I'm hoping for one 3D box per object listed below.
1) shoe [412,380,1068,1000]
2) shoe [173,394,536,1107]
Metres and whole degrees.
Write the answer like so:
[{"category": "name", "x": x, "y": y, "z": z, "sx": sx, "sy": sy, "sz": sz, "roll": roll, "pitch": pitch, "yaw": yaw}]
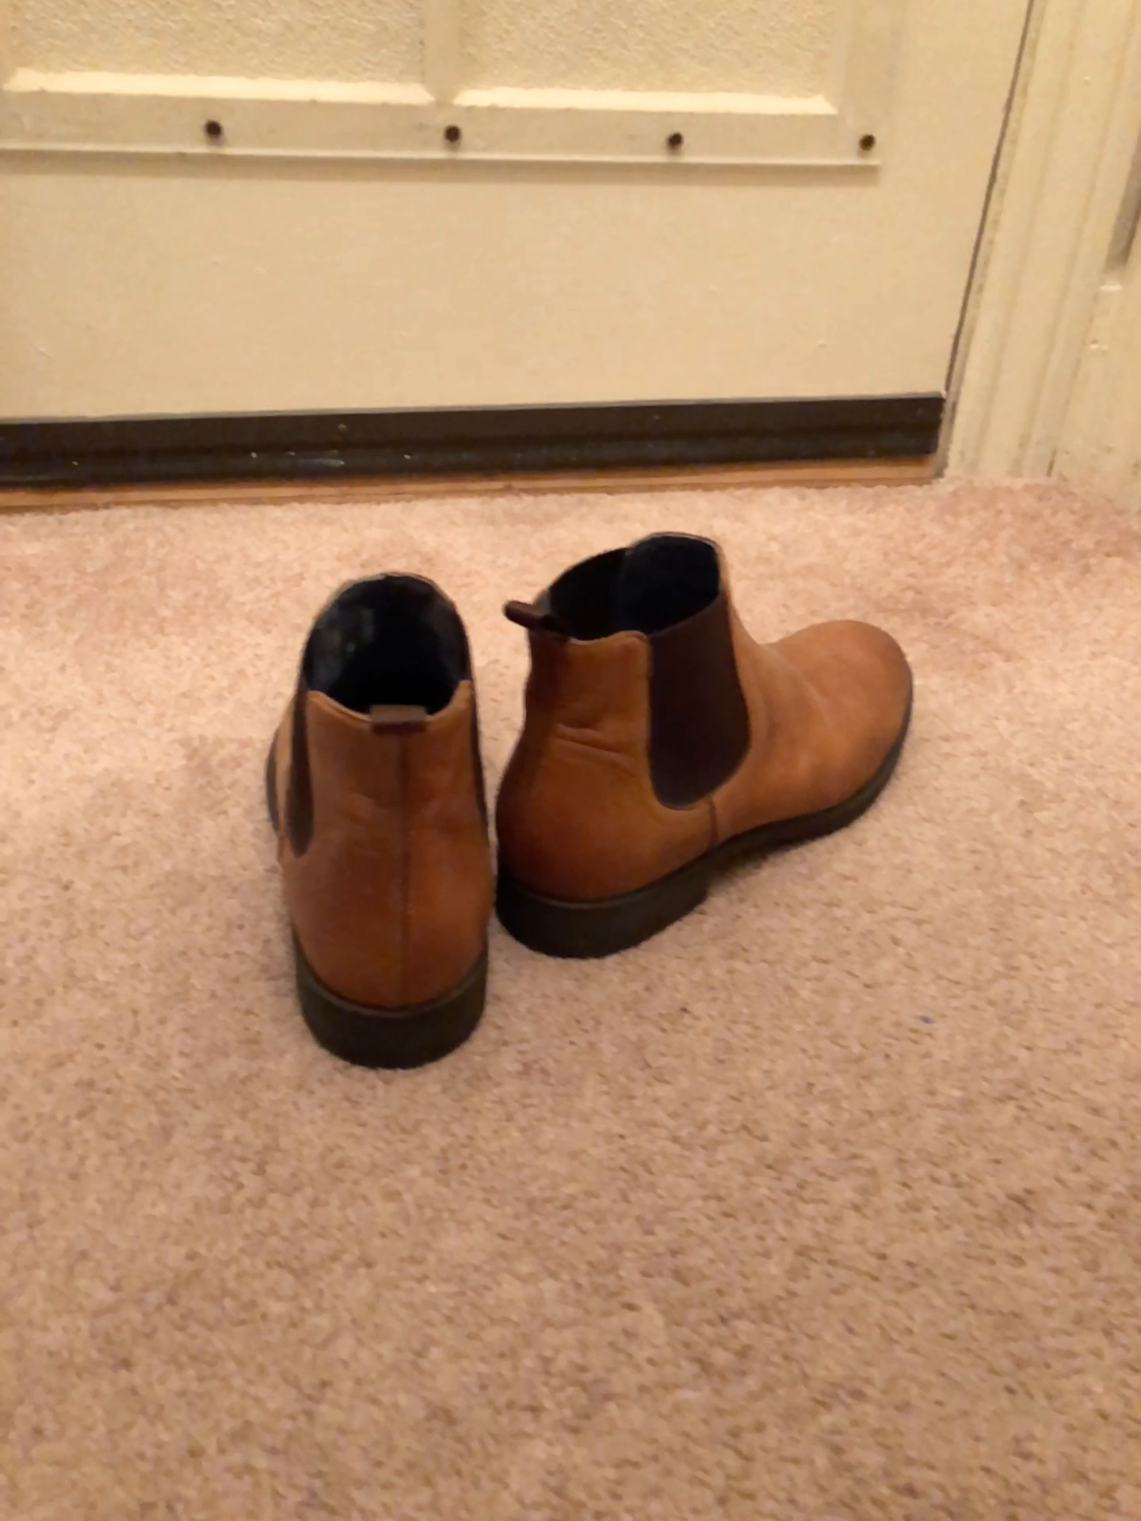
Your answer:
[{"category": "shoe", "x": 0.085, "y": -0.052, "z": 0.585, "sx": 0.313, "sy": 0.165, "sz": 0.109, "roll": -27, "pitch": 44, "yaw": -37}, {"category": "shoe", "x": -0.089, "y": -0.030, "z": 0.556, "sx": 0.109, "sy": 0.165, "sz": 0.314, "roll": -2, "pitch": 34, "yaw": -8}]
